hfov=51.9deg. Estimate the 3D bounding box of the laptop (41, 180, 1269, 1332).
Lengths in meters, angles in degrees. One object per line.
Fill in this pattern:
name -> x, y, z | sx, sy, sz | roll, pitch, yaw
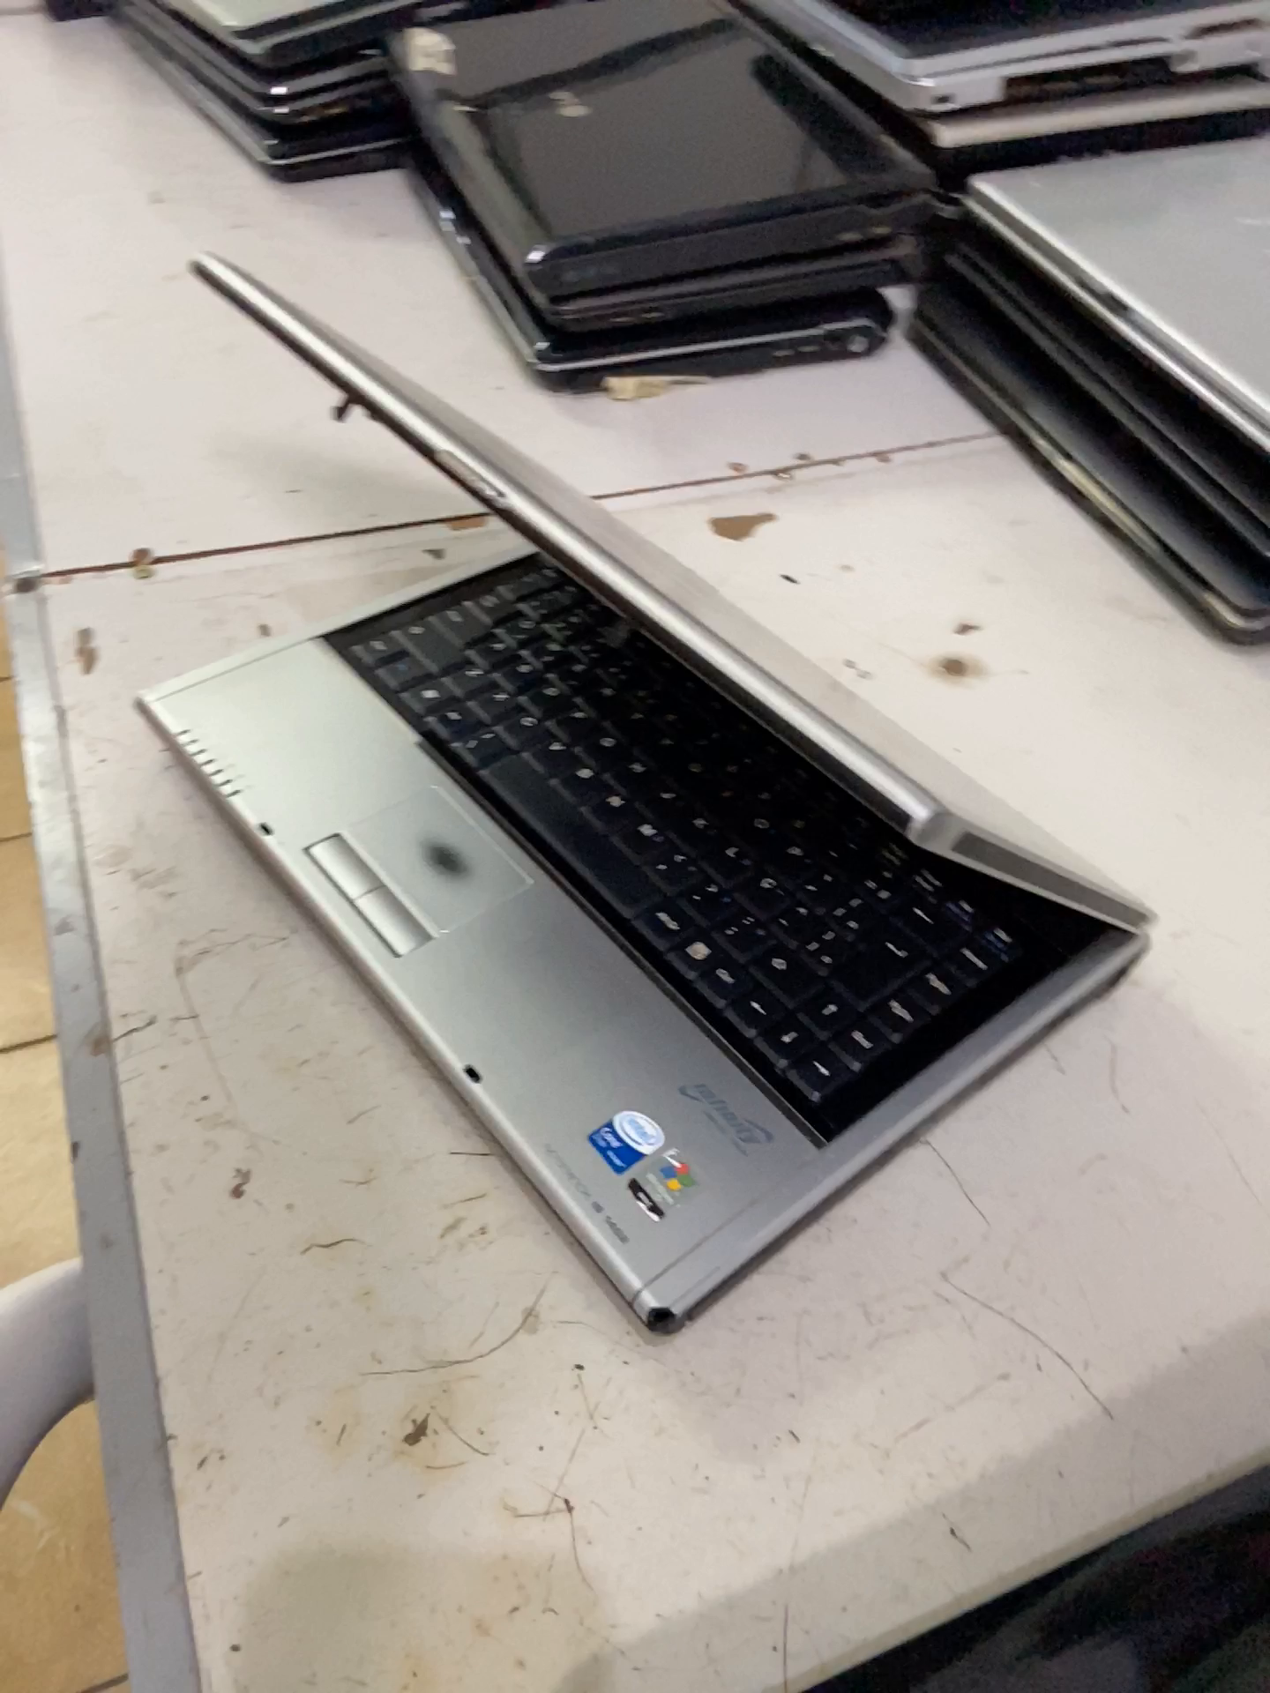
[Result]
laptop -> -0.004, -0.067, 0.445 | 0.228, 0.164, 0.331 | -29, 54, -28
